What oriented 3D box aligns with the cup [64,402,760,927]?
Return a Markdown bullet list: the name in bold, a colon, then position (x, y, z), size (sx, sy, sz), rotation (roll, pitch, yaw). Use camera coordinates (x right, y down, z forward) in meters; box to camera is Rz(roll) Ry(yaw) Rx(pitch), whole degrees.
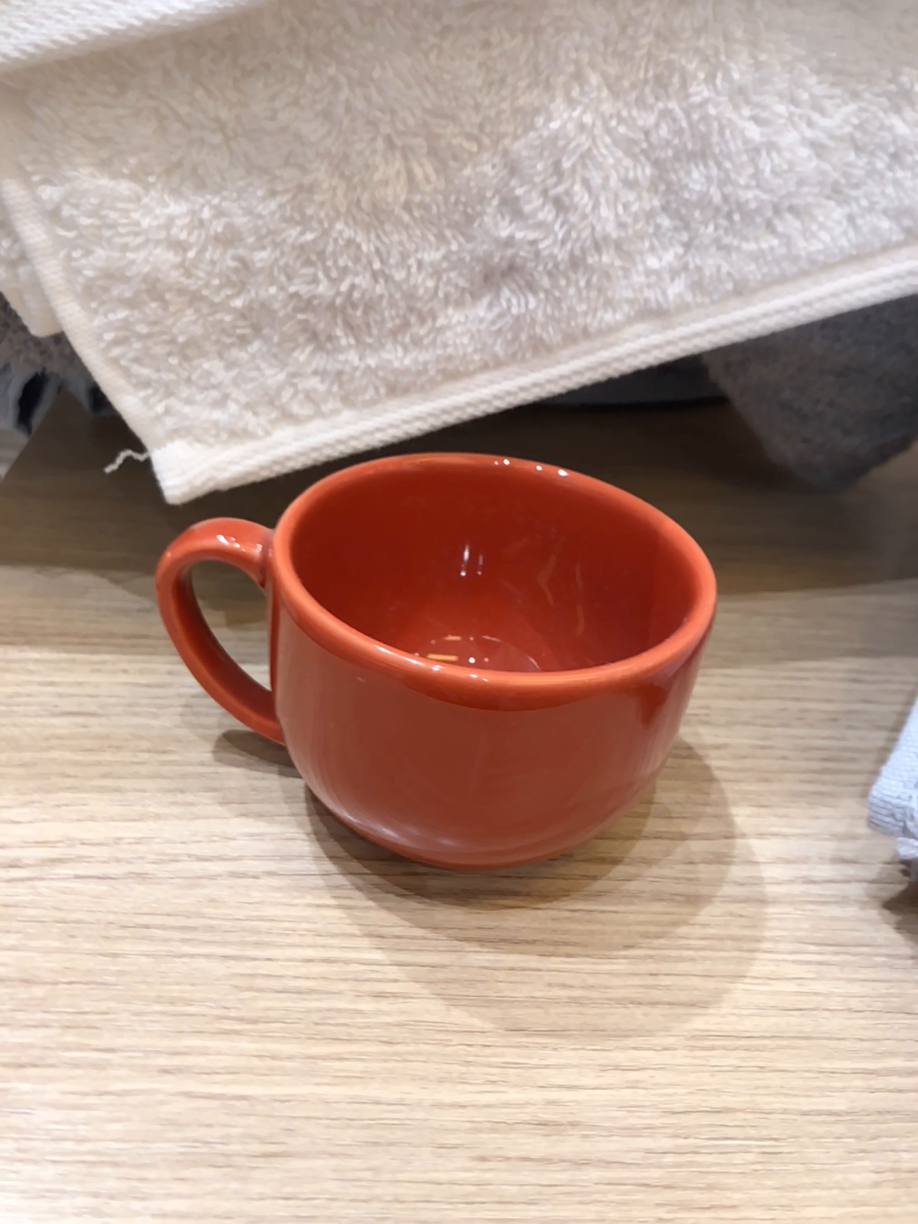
- **cup**: position (-0.007, 0.005, 0.195), size (0.100, 0.050, 0.081), rotation (7, 33, -1)
